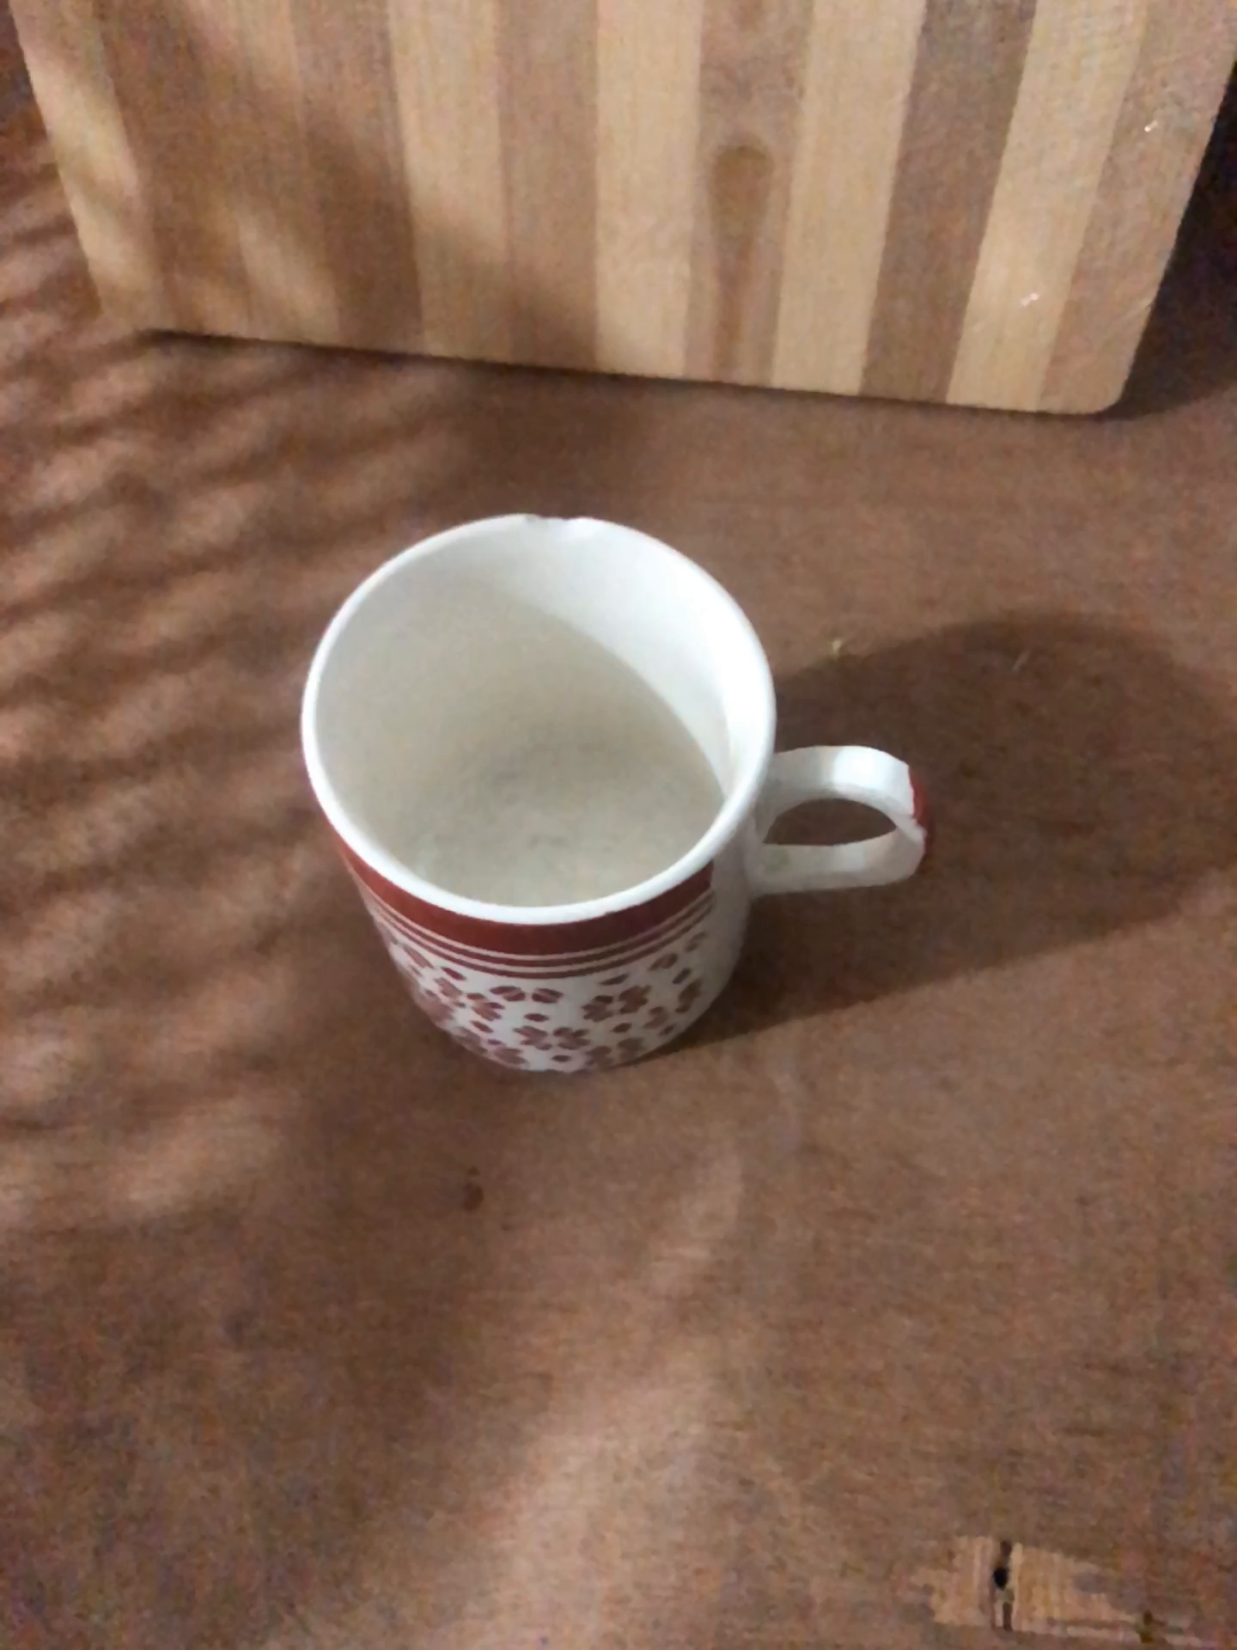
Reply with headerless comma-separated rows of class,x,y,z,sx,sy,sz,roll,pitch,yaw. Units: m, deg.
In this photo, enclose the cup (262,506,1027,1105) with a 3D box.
cup,0.004,0.002,0.213,0.090,0.080,0.060,-1,64,2
